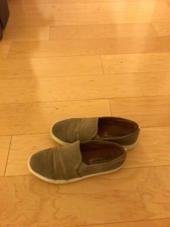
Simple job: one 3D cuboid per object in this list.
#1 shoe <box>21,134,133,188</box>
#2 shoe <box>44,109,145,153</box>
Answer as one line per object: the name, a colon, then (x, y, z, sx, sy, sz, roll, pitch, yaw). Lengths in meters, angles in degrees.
shoe: (-0.022, 0.129, 0.512, 0.280, 0.050, 0.111, -4, 54, -4)
shoe: (0.028, 0.053, 0.568, 0.280, 0.060, 0.111, 2, 53, 1)
